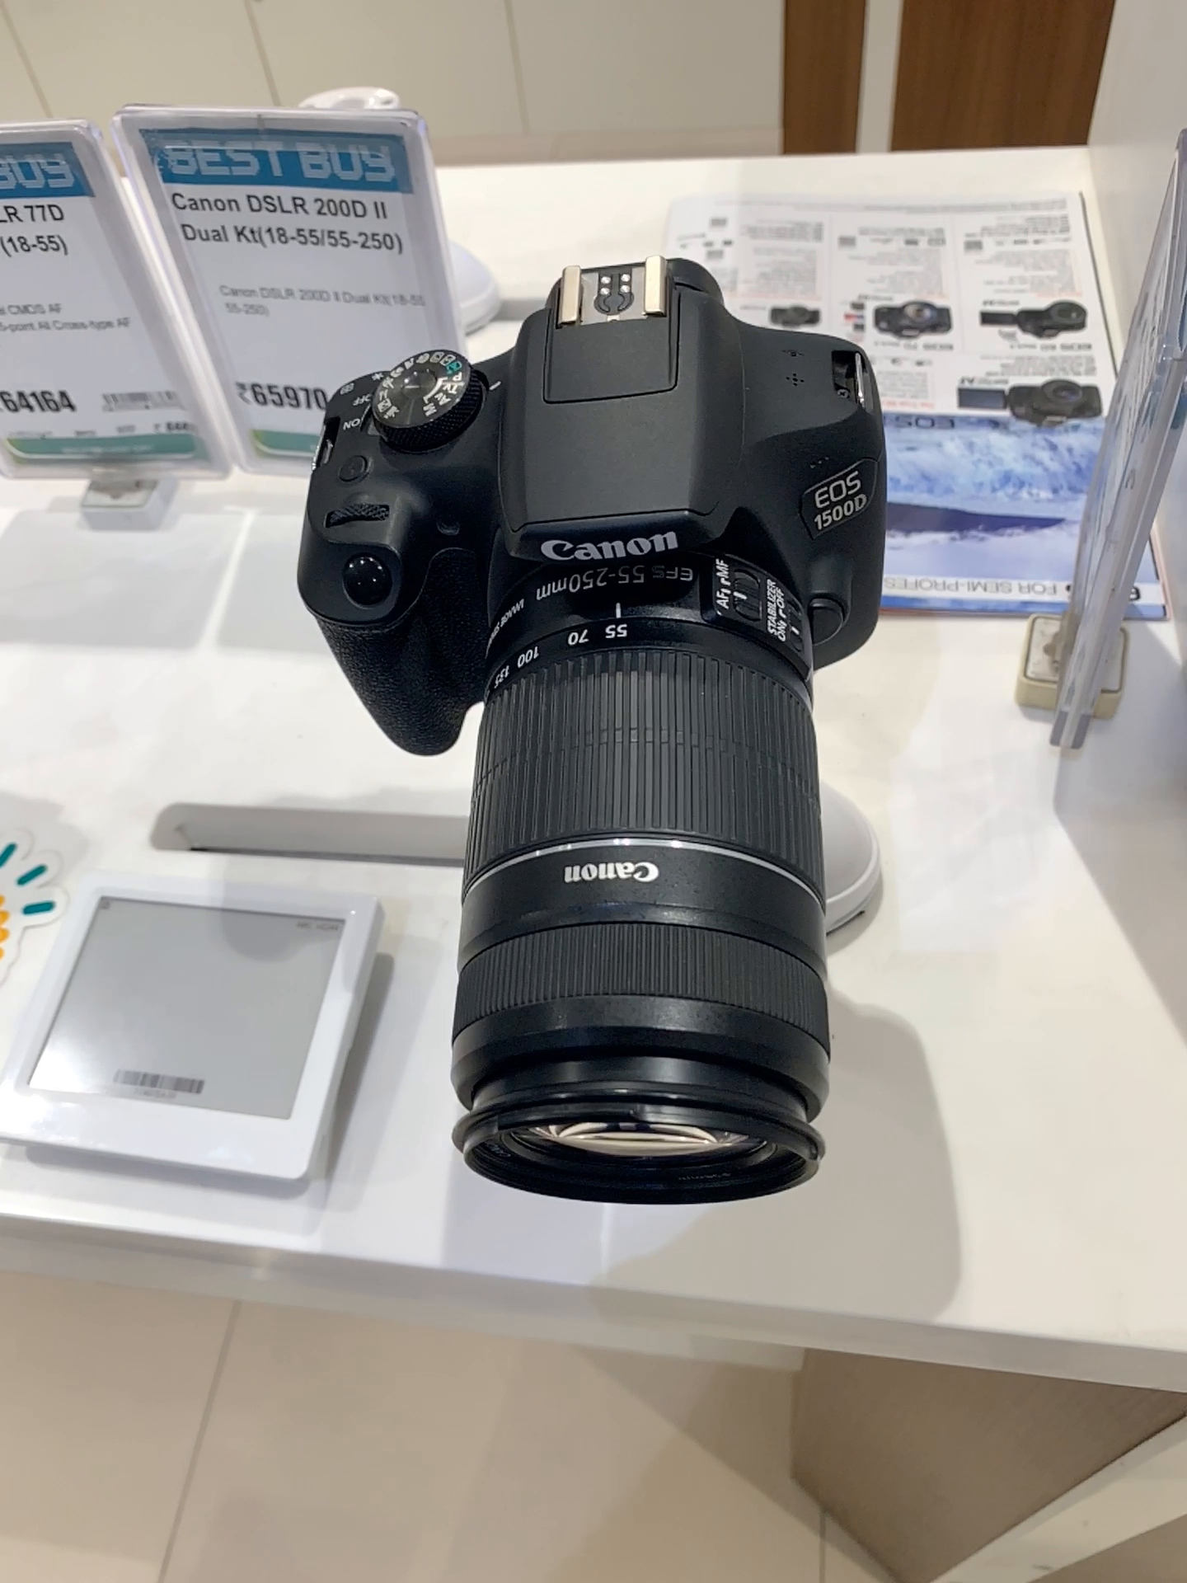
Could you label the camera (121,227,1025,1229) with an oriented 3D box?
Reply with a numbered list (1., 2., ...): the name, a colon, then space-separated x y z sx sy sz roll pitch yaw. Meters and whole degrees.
1. camera: 0.000 -0.010 0.236 0.117 0.090 0.164 -3 62 6
